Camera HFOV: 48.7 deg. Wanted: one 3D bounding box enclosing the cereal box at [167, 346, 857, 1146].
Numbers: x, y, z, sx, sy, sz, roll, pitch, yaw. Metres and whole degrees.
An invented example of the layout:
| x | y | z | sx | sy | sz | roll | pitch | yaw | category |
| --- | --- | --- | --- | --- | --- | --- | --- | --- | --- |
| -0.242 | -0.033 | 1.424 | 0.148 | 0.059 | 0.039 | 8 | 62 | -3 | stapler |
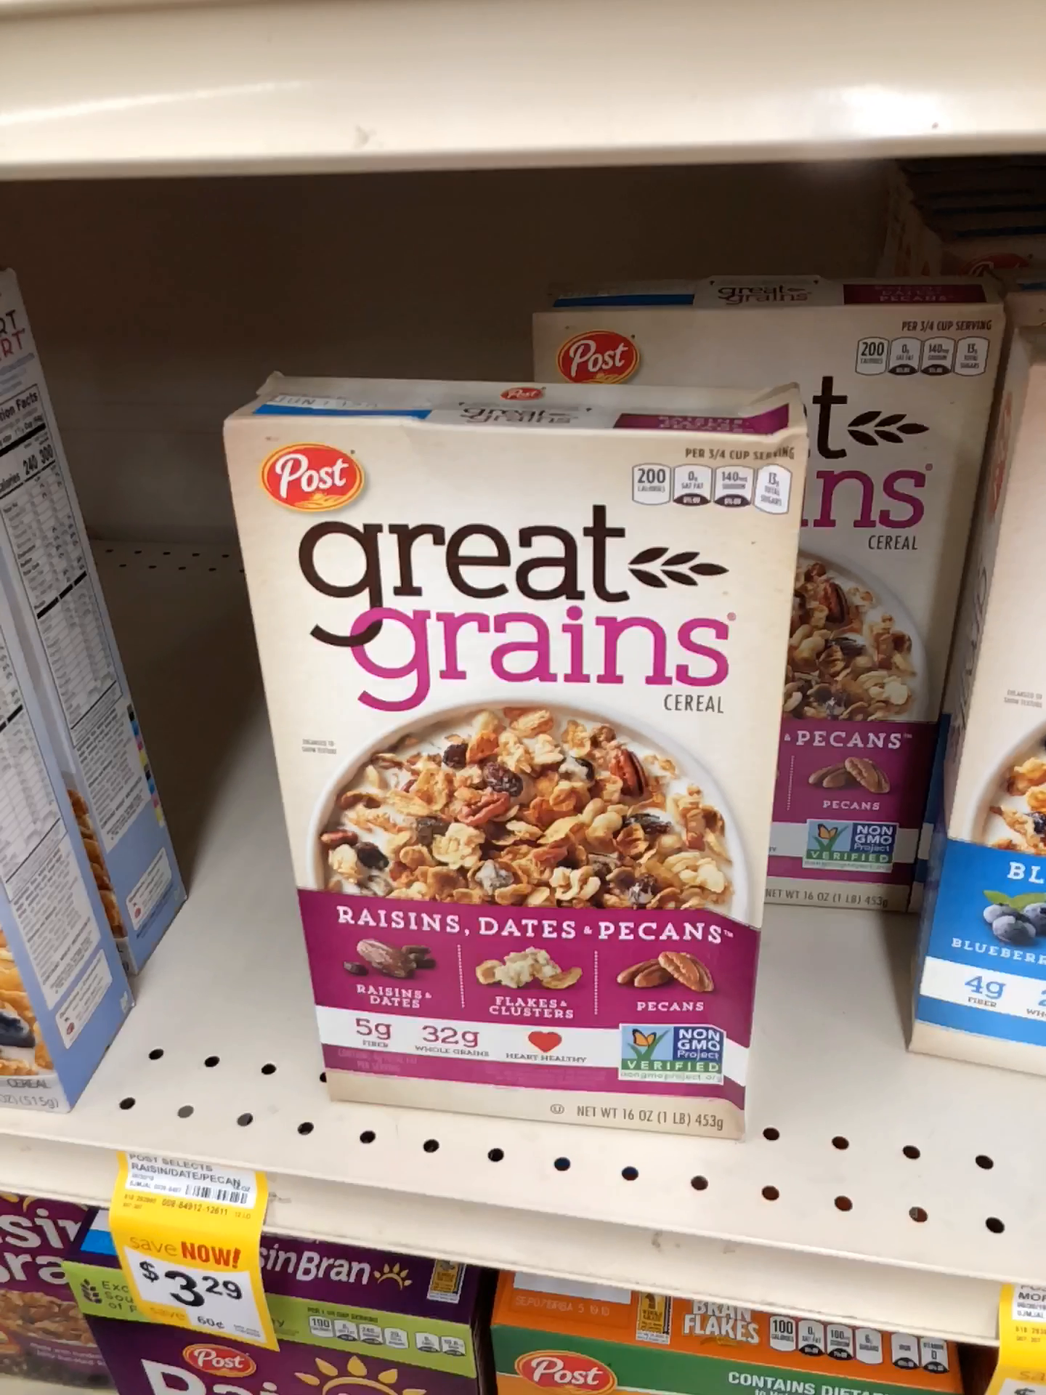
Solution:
| x | y | z | sx | sy | sz | roll | pitch | yaw | category |
| --- | --- | --- | --- | --- | --- | --- | --- | --- | --- |
| 0.003 | 0.029 | 0.374 | 0.170 | 0.269 | 0.050 | 3 | 33 | 8 | cereal box |
